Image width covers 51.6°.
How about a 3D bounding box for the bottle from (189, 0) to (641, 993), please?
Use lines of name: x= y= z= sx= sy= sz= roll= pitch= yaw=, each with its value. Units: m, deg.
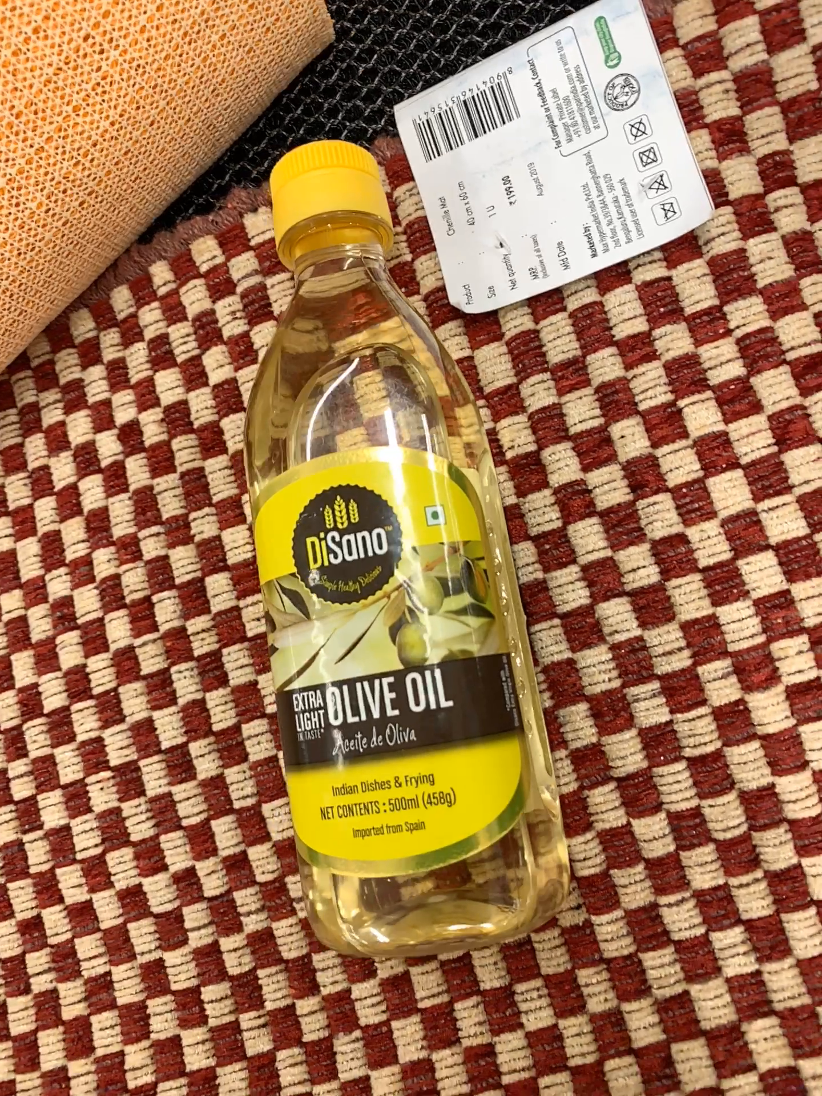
bottle: x=0.001 y=-0.016 z=0.228 sx=0.070 sy=0.060 sz=0.230 roll=-12 pitch=80 yaw=14
